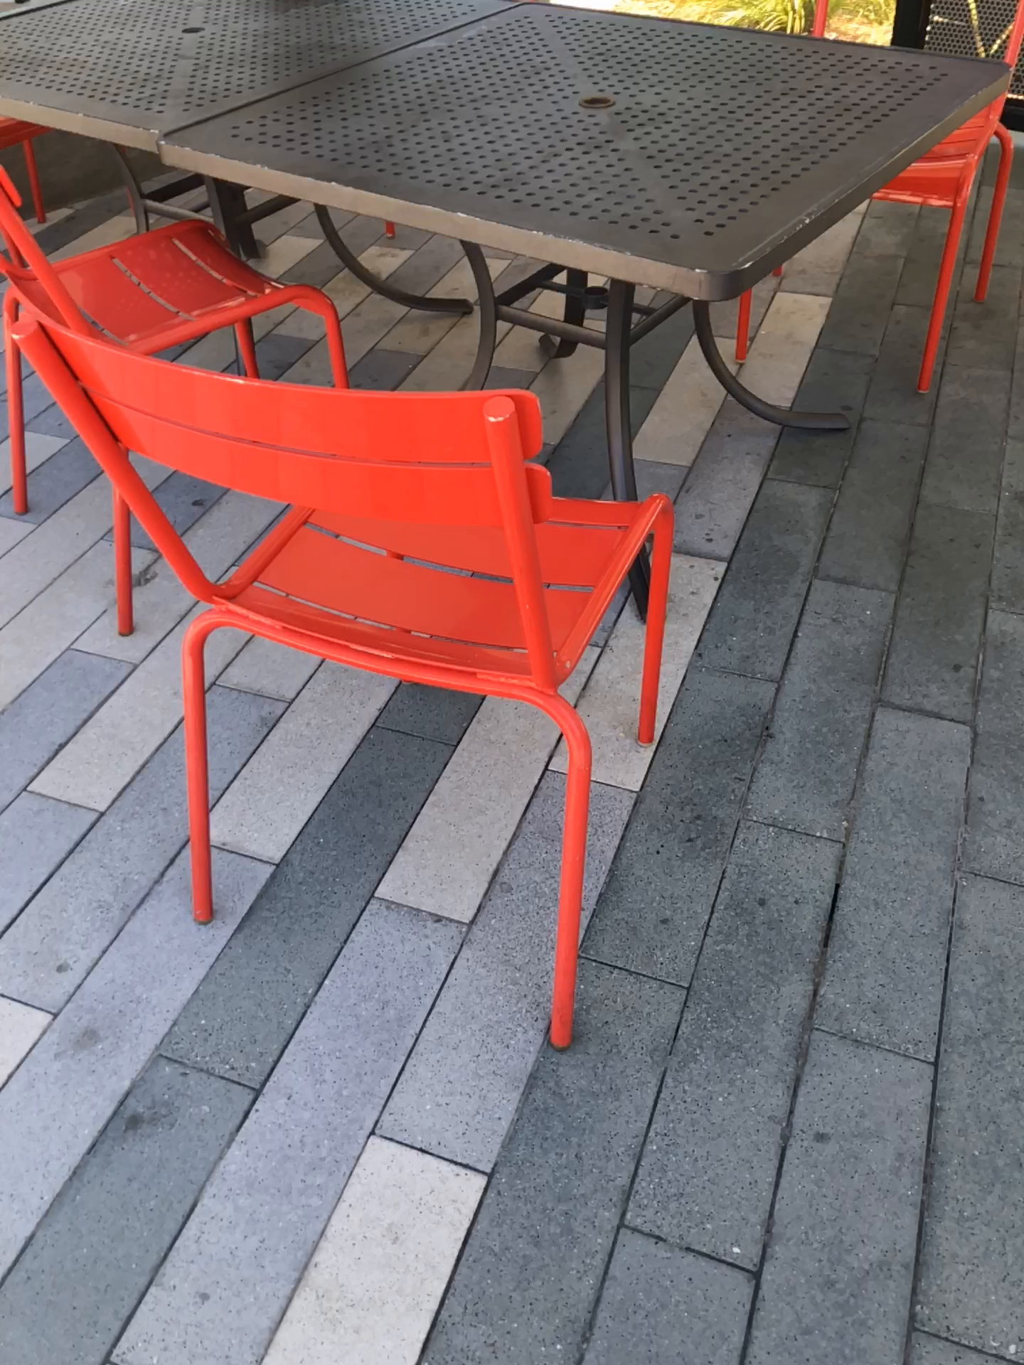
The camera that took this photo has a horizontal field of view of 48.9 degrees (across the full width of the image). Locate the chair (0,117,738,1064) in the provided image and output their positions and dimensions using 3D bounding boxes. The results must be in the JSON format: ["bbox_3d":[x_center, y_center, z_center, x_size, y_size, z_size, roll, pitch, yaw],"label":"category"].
[{"bbox_3d":[-0.119,-0.118,1.478,0.611,0.955,0.632,13,44,18],"label":"chair"}]
